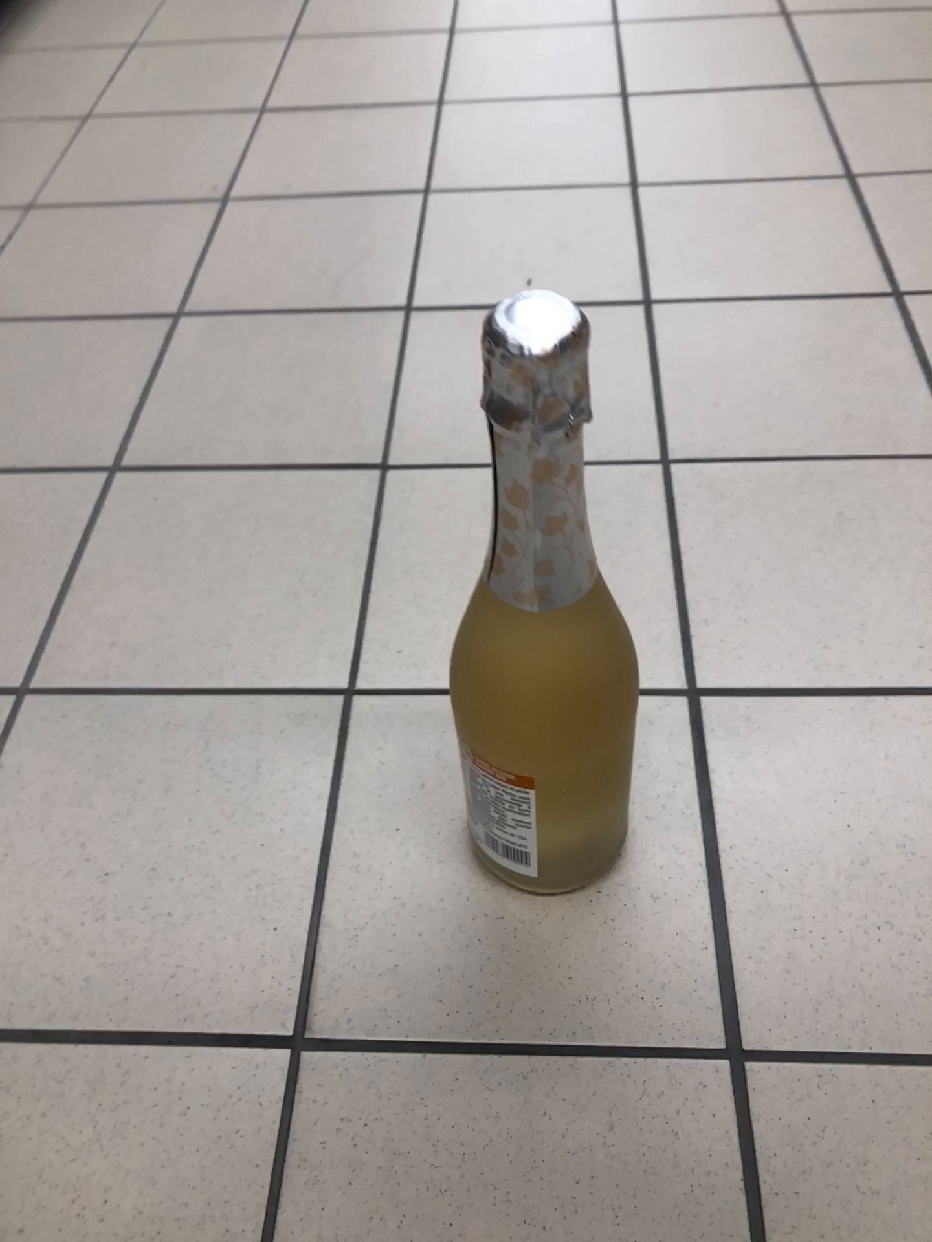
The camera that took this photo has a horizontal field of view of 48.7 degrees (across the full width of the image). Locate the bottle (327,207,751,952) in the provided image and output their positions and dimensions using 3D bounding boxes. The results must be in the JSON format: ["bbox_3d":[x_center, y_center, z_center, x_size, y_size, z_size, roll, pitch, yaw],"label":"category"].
[{"bbox_3d":[0.030,0.009,0.423,0.090,0.308,0.090,-2,48,3],"label":"bottle"}]
